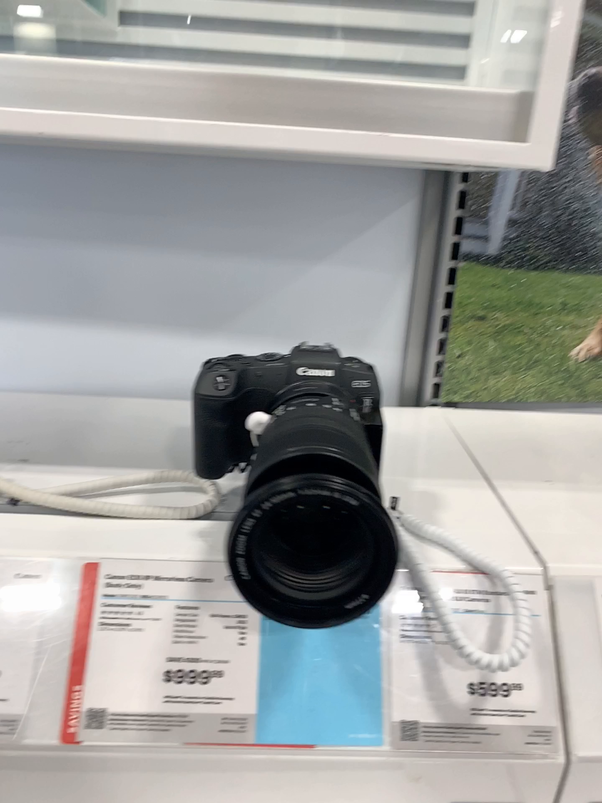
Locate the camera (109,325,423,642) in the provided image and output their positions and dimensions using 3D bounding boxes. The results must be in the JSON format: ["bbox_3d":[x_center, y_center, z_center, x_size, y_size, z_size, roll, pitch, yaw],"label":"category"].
[{"bbox_3d":[-0.014,0.029,0.370,0.132,0.100,0.200,2,20,1],"label":"camera"}]
